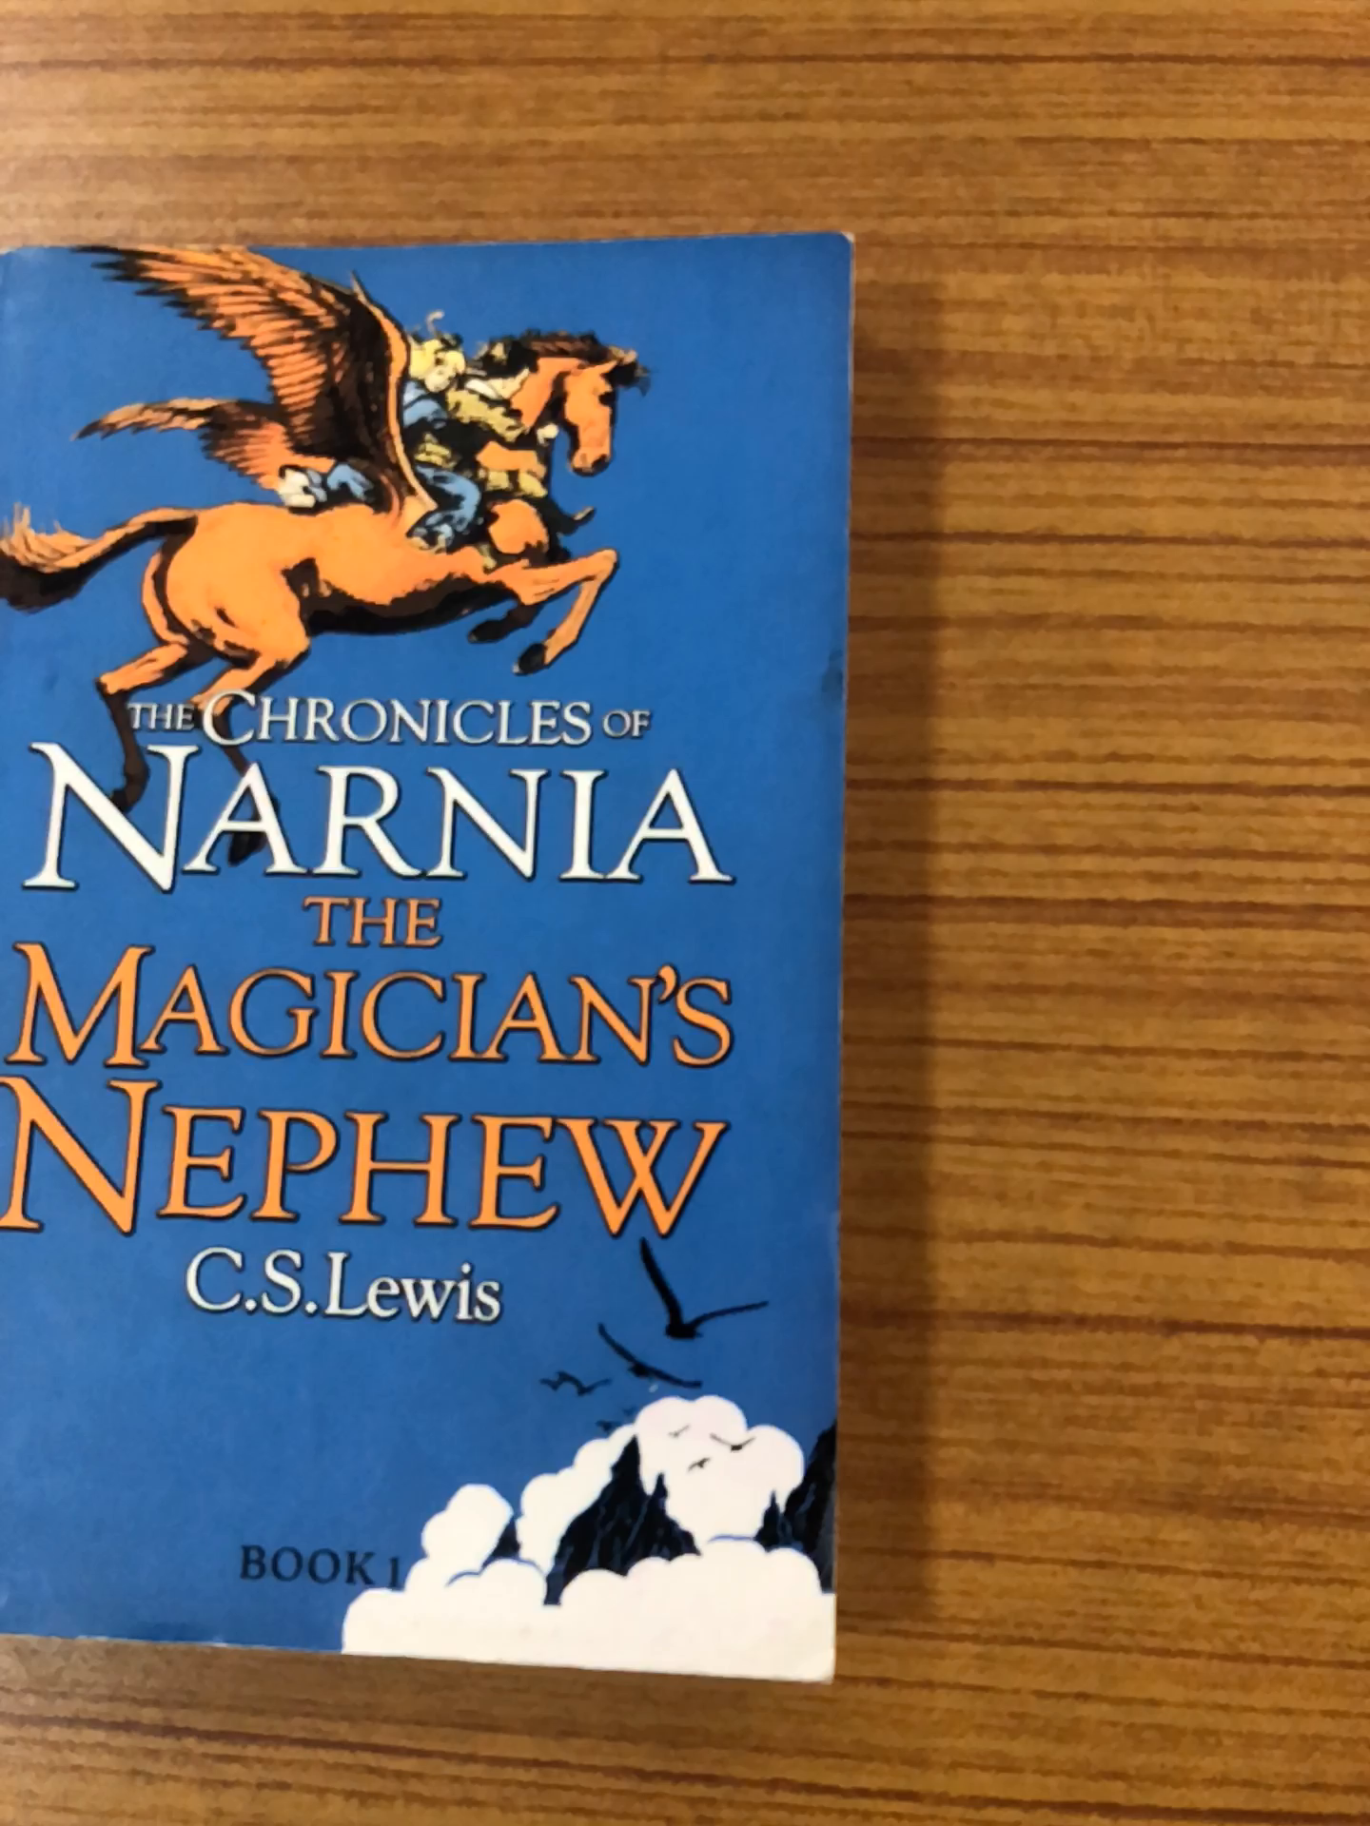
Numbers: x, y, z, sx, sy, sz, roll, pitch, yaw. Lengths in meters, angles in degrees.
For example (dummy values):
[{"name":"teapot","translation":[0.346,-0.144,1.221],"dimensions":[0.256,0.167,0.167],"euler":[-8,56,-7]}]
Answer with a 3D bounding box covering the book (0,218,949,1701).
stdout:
[{"name":"book","translation":[-0.036,0.000,0.216],"dimensions":[0.140,0.030,0.190],"euler":[1,80,4]}]
